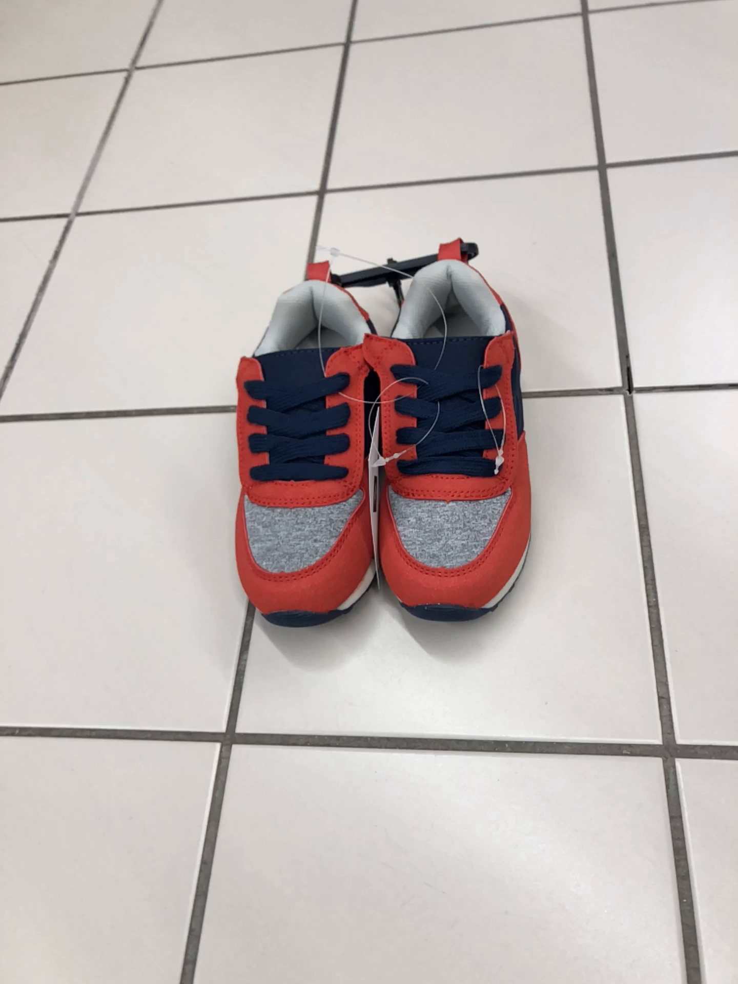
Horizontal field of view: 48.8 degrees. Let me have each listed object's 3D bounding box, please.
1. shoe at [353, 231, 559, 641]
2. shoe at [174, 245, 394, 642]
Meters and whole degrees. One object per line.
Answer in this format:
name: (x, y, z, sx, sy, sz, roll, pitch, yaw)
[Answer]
shoe: (0.042, -0.031, 0.411, 0.082, 0.083, 0.189, -5, 56, 8)
shoe: (-0.034, -0.028, 0.423, 0.082, 0.083, 0.187, -5, 56, 8)
